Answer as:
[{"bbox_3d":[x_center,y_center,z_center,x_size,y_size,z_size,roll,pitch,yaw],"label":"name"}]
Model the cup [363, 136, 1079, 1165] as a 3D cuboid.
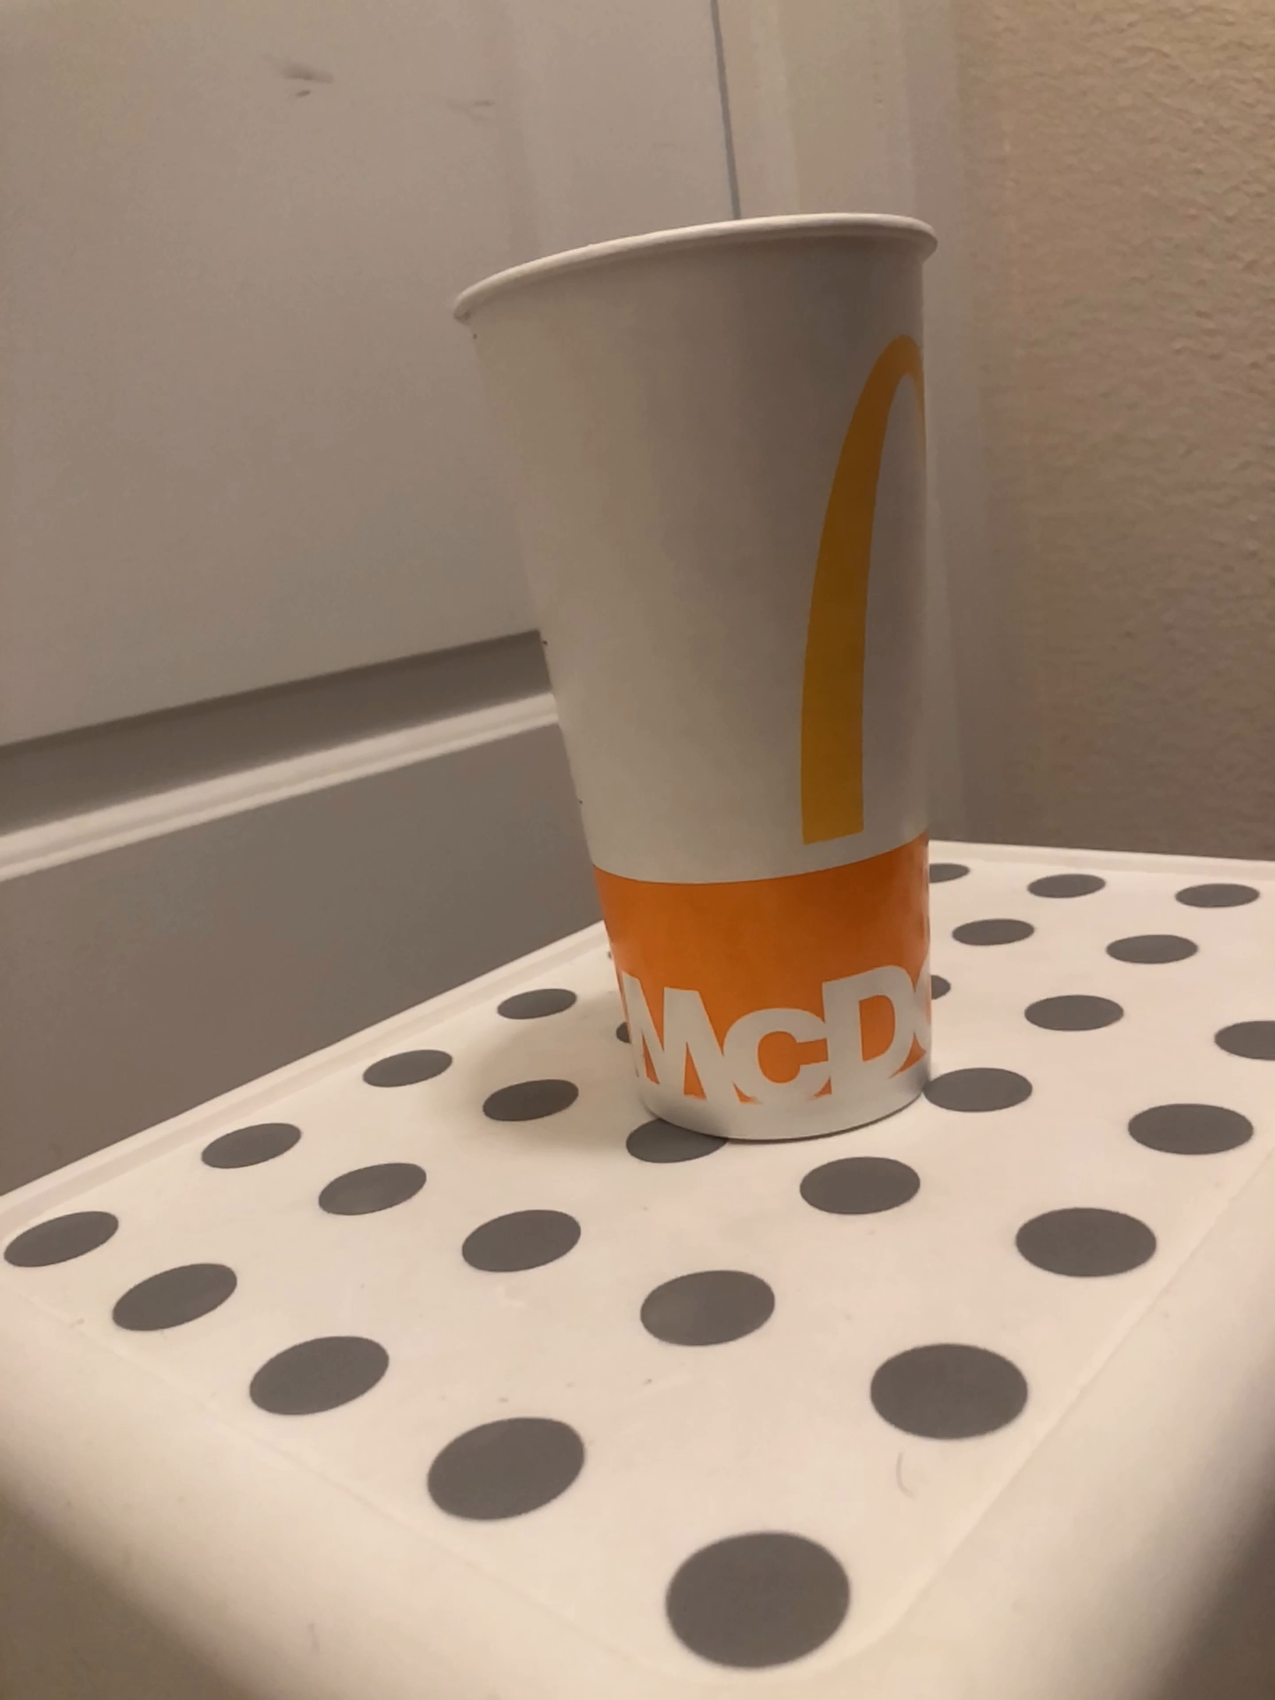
[{"bbox_3d":[0.020,-0.037,0.278,0.099,0.155,0.100,-7,13,2],"label":"cup"}]
